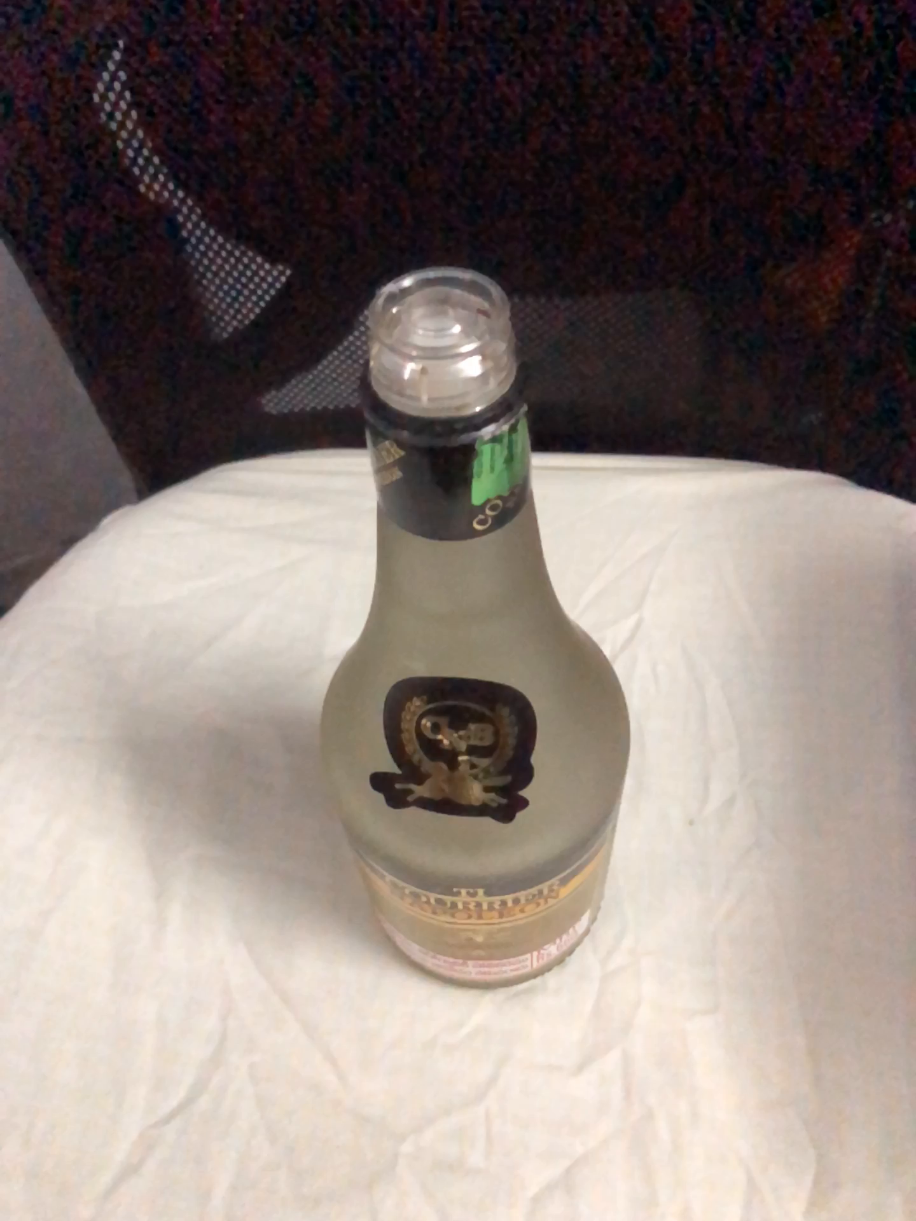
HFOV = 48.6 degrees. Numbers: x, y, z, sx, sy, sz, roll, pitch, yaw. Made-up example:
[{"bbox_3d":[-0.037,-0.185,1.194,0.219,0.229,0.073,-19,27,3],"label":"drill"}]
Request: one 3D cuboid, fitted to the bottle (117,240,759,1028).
[{"bbox_3d":[0.002,0.034,0.262,0.090,0.239,0.080,2,55,3],"label":"bottle"}]
